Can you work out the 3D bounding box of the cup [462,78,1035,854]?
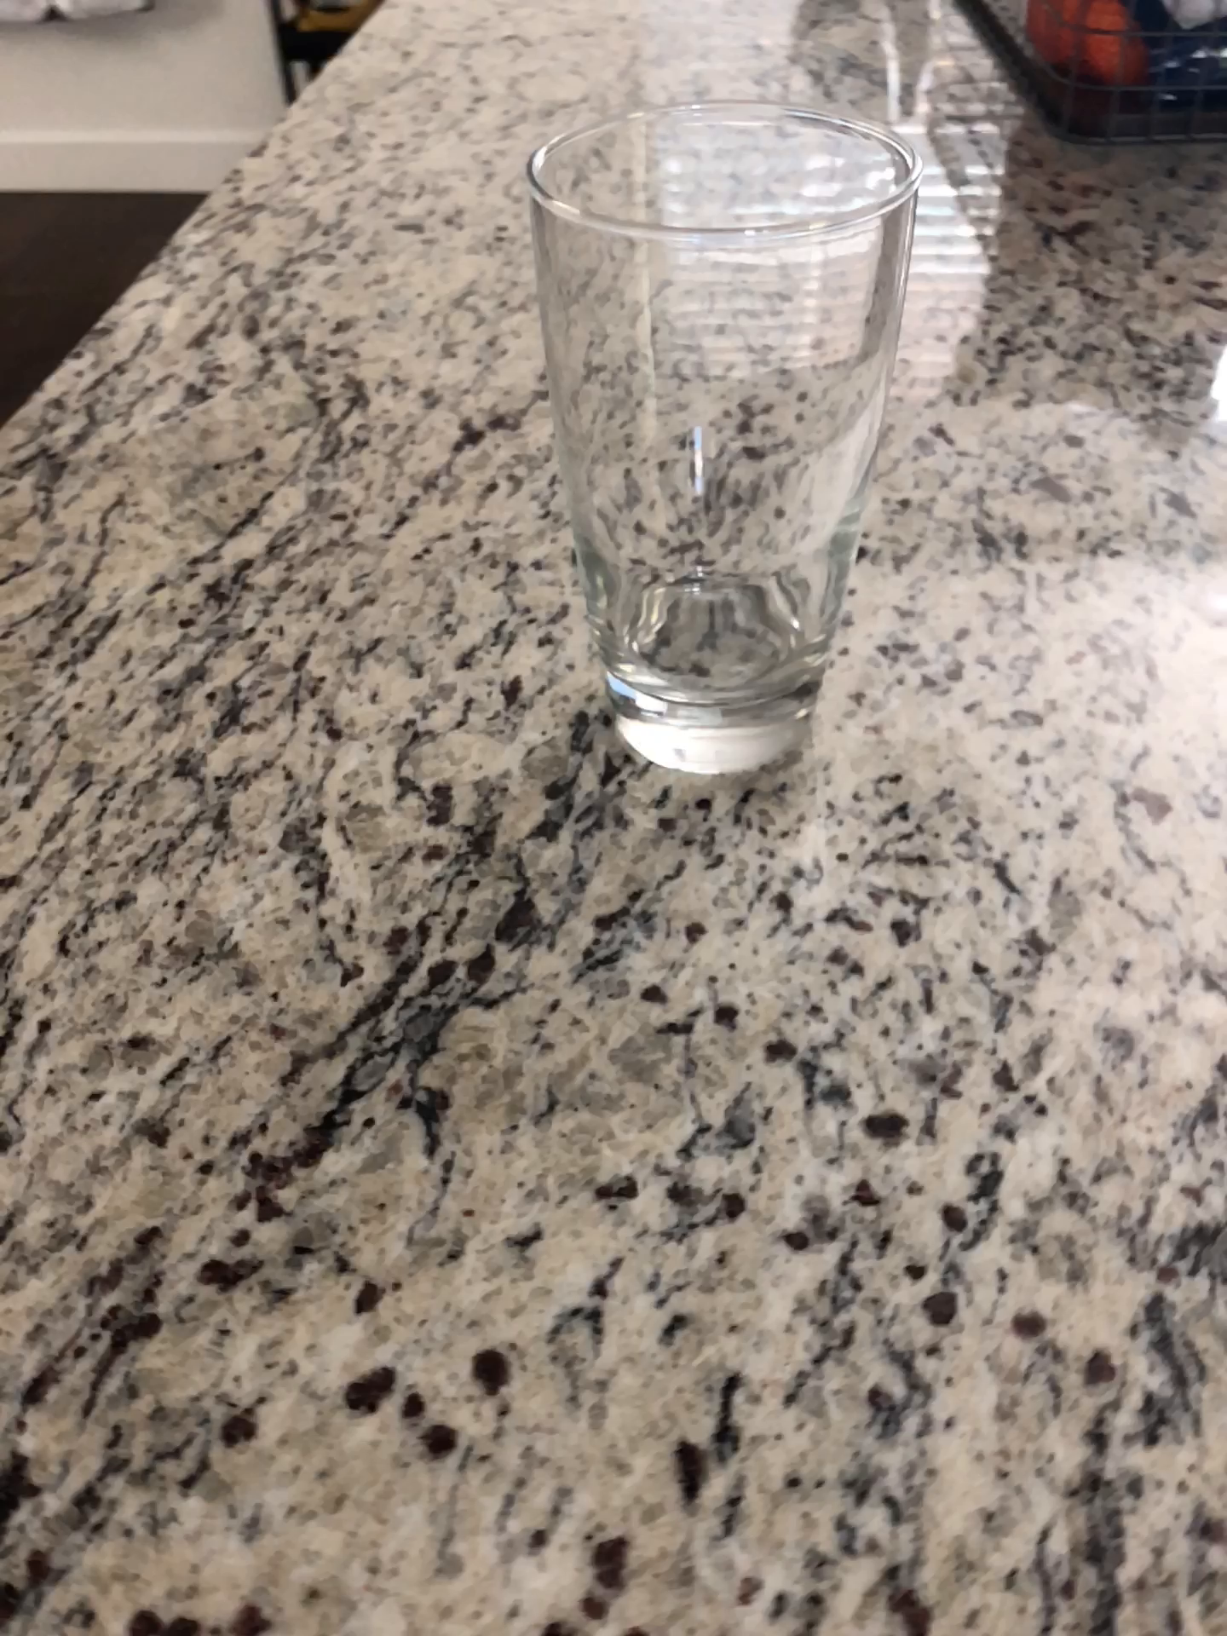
[{"bbox_3d":[0.027,-0.083,0.326,0.080,0.139,0.090,-22,45,-20],"label":"cup"}]
